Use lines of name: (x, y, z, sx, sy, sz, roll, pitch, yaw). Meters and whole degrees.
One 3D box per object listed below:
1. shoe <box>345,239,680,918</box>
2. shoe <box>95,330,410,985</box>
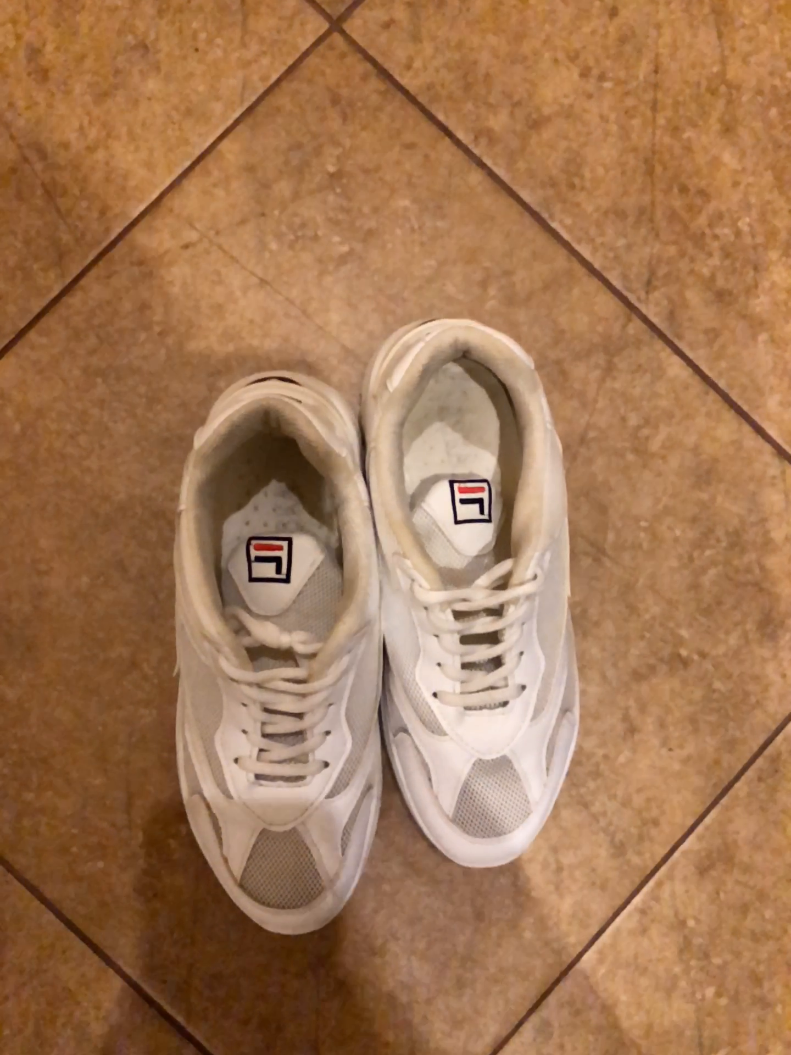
shoe: (0.041, 0.018, 0.387, 0.110, 0.110, 0.250, -4, 88, -3)
shoe: (-0.057, 0.048, 0.383, 0.110, 0.110, 0.240, -2, 88, -3)
